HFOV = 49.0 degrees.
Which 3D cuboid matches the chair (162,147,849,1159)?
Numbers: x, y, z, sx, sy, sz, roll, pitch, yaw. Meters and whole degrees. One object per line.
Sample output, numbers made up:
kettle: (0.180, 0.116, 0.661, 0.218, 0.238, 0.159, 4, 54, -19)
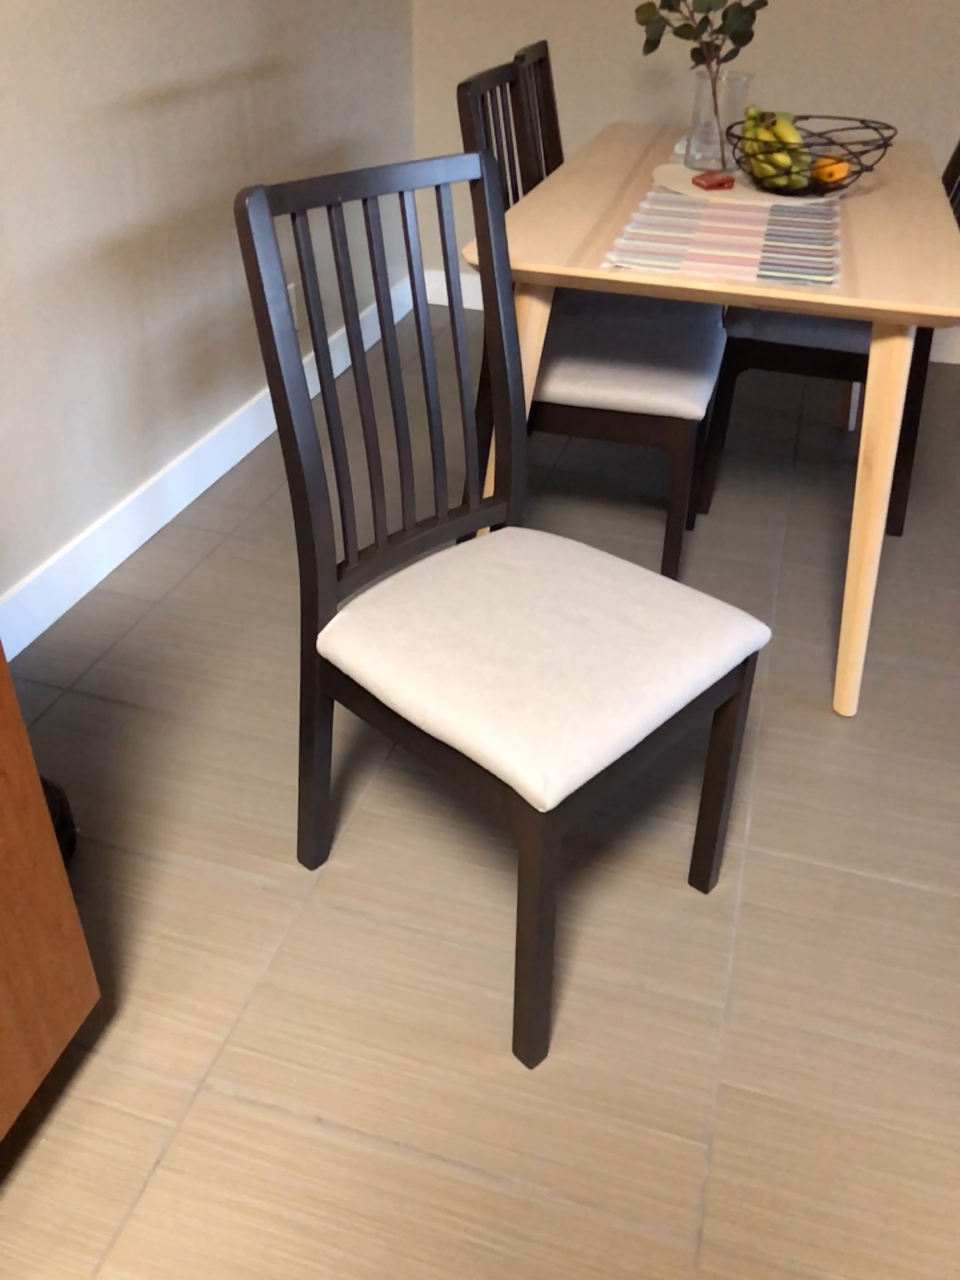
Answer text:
chair: (0.010, 0.025, 1.382, 0.481, 1.124, 0.511, -27, 43, -36)
